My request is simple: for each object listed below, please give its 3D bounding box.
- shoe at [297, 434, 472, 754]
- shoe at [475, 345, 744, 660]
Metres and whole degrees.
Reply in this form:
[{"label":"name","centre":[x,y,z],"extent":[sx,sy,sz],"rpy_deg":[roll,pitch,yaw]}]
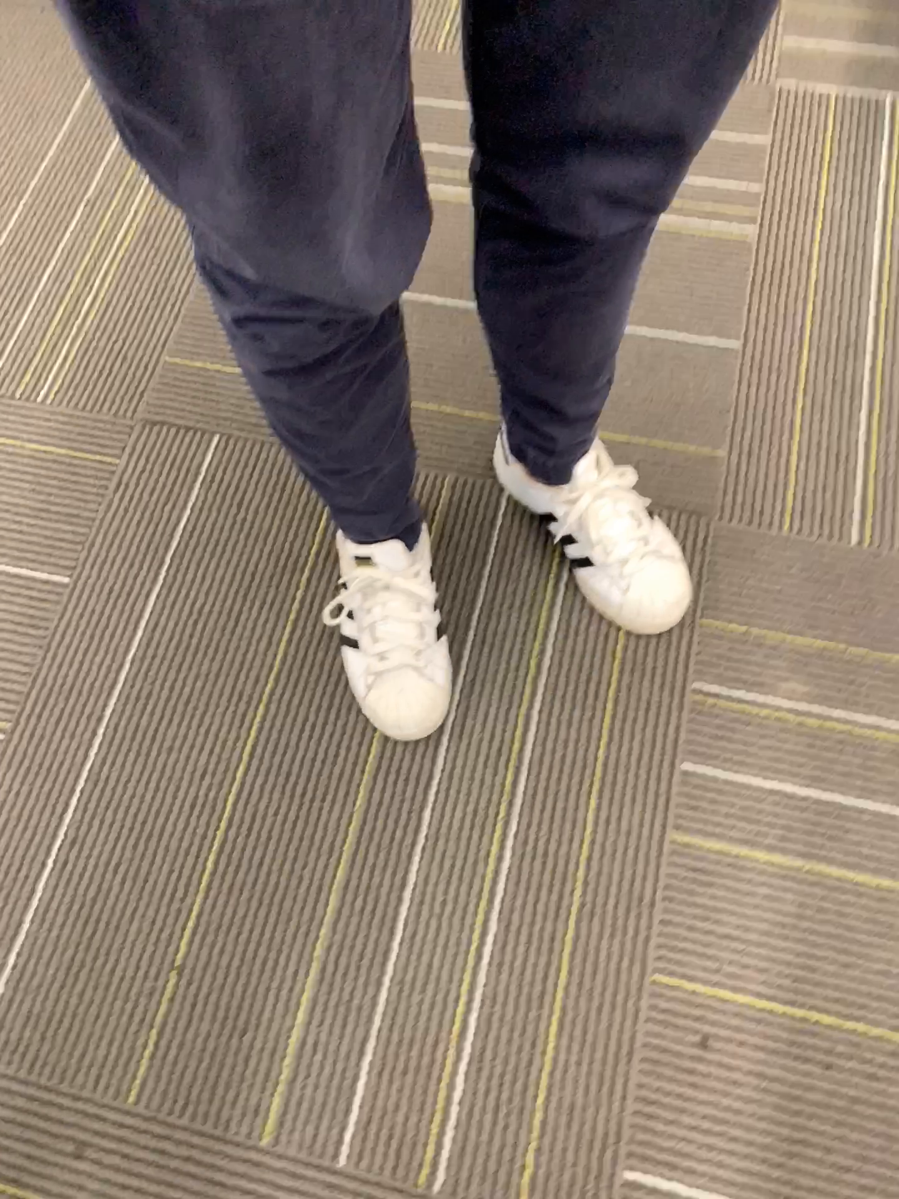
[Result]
[{"label":"shoe","centre":[-0.060,-0.006,0.841],"extent":[0.105,0.104,0.258],"rpy_deg":[-12,66,-2]},{"label":"shoe","centre":[0.139,-0.093,0.860],"extent":[0.108,0.104,0.263],"rpy_deg":[-29,67,-9]}]
